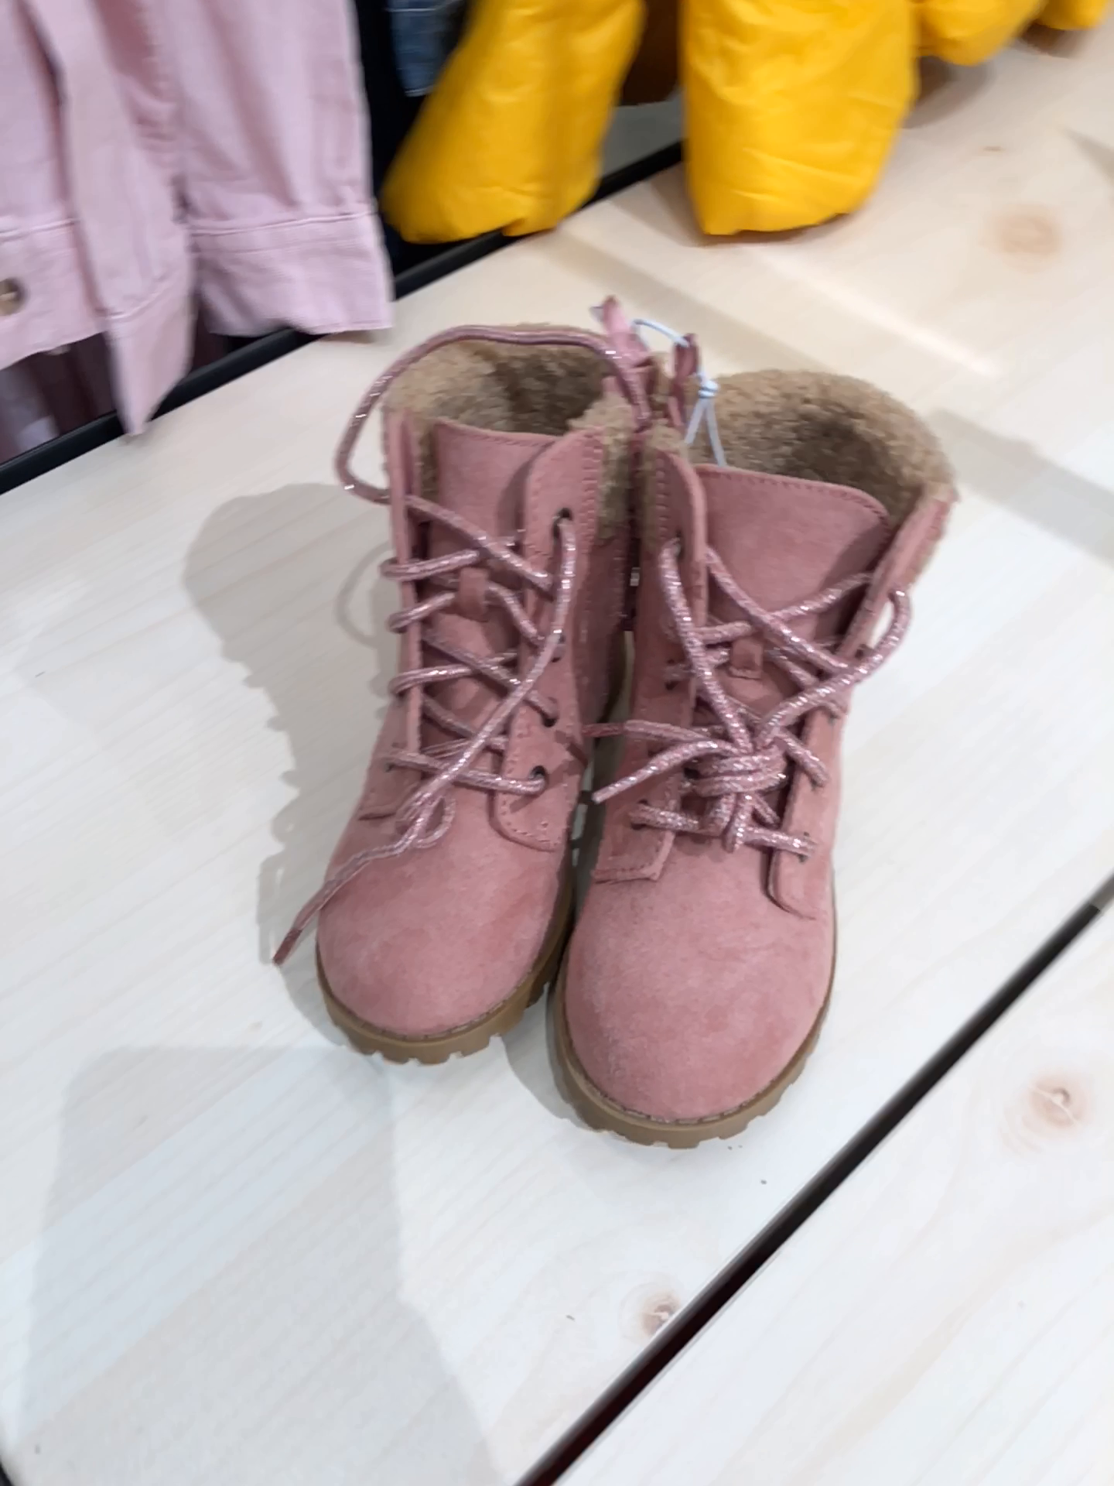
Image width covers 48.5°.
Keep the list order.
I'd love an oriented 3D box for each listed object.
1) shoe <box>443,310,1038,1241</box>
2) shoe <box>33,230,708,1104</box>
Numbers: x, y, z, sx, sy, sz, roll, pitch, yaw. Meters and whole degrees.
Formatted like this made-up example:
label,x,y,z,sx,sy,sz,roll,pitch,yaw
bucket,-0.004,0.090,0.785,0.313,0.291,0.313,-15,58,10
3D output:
label,x,y,z,sx,sy,sz,roll,pitch,yaw
shoe,0.047,0.003,0.282,0.080,0.120,0.160,13,51,13
shoe,-0.025,-0.023,0.298,0.080,0.120,0.160,13,51,13
